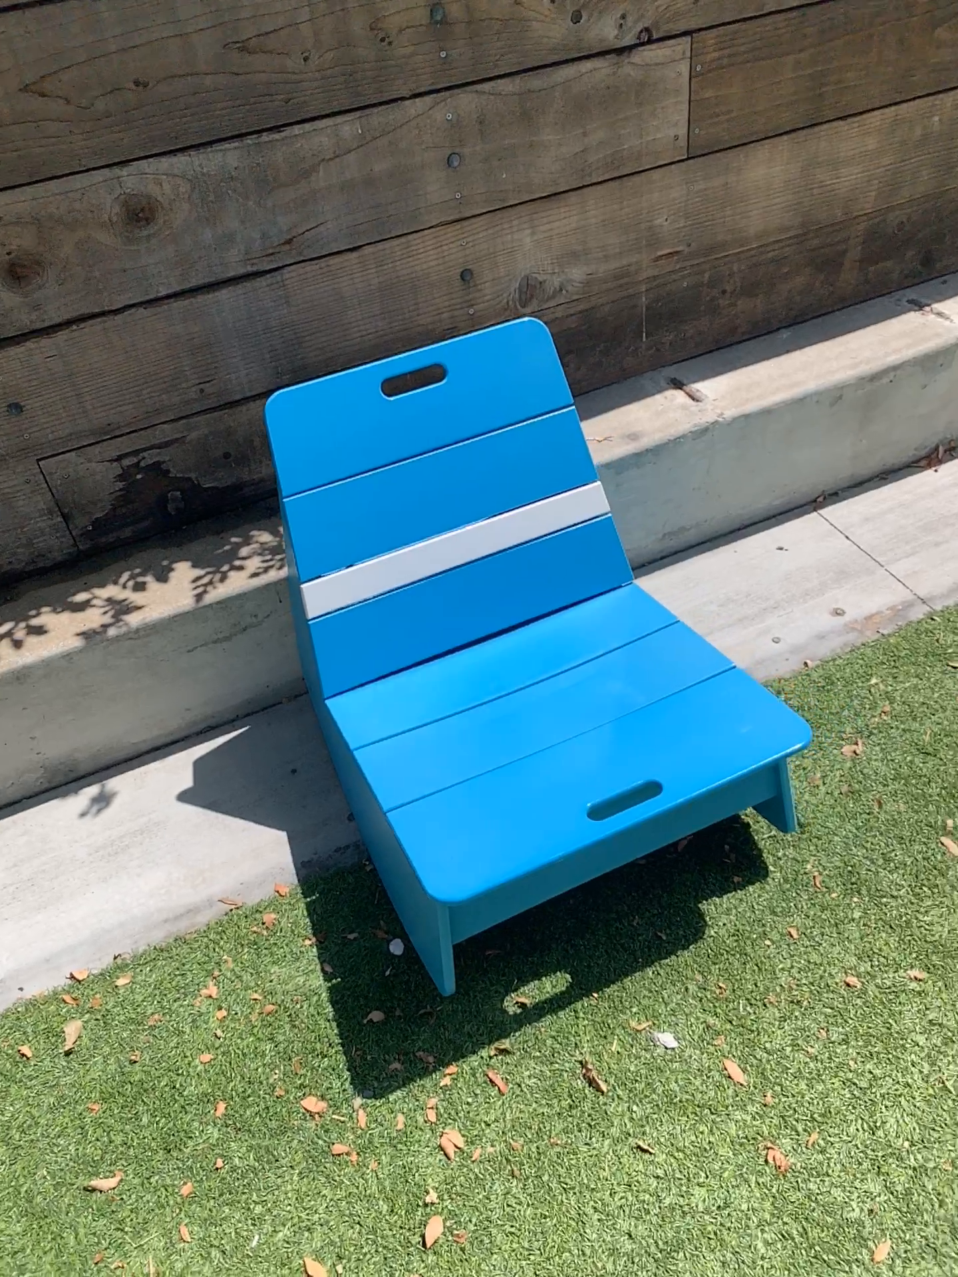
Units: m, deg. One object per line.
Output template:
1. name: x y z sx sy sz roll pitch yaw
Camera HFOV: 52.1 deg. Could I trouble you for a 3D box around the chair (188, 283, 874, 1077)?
1. chair: 0.028 0.041 1.453 0.590 0.746 0.724 -19 46 -13
